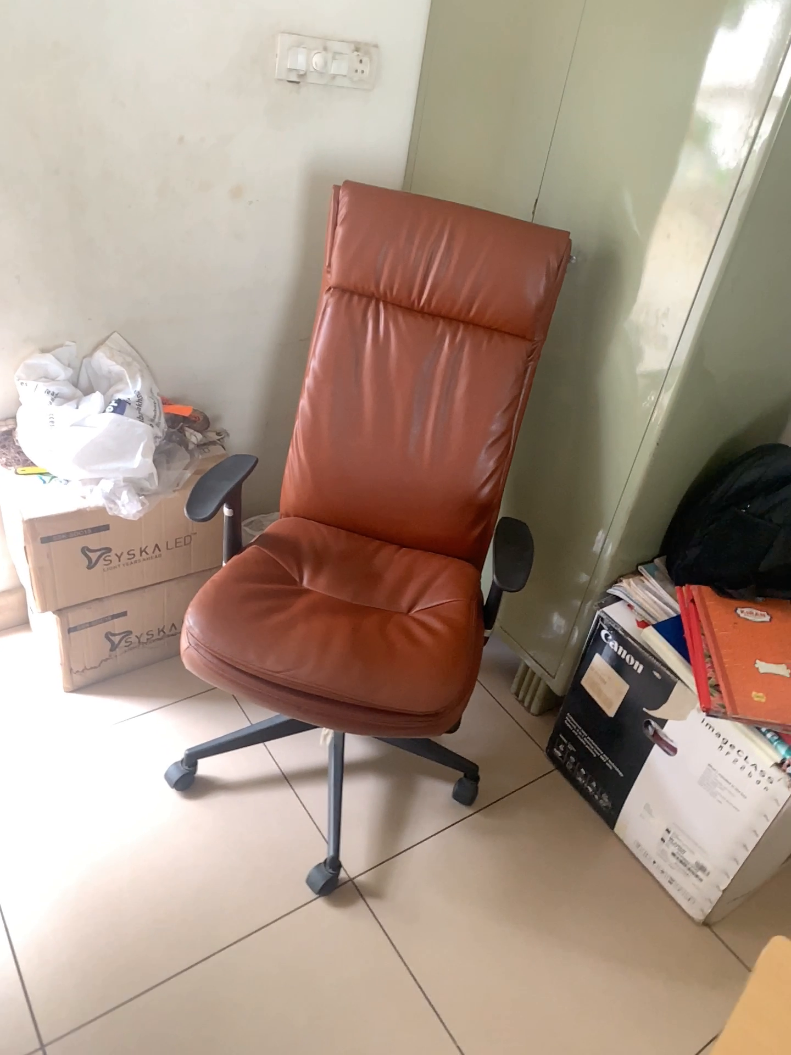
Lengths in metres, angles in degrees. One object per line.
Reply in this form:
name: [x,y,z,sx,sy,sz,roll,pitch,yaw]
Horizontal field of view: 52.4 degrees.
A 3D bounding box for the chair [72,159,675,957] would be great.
chair: [-0.016,0.003,1.569,0.690,1.085,0.934,15,34,6]
